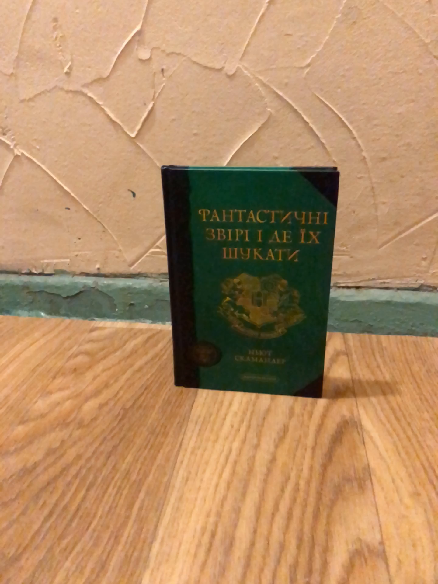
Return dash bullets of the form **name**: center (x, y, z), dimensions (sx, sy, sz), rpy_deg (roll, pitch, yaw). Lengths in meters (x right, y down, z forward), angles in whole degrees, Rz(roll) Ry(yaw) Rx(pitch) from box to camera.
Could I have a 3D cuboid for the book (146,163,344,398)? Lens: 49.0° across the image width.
- **book**: center (0.021, -0.006, 0.407), dimensions (0.148, 0.196, 0.024), rpy_deg (3, 23, 9)
